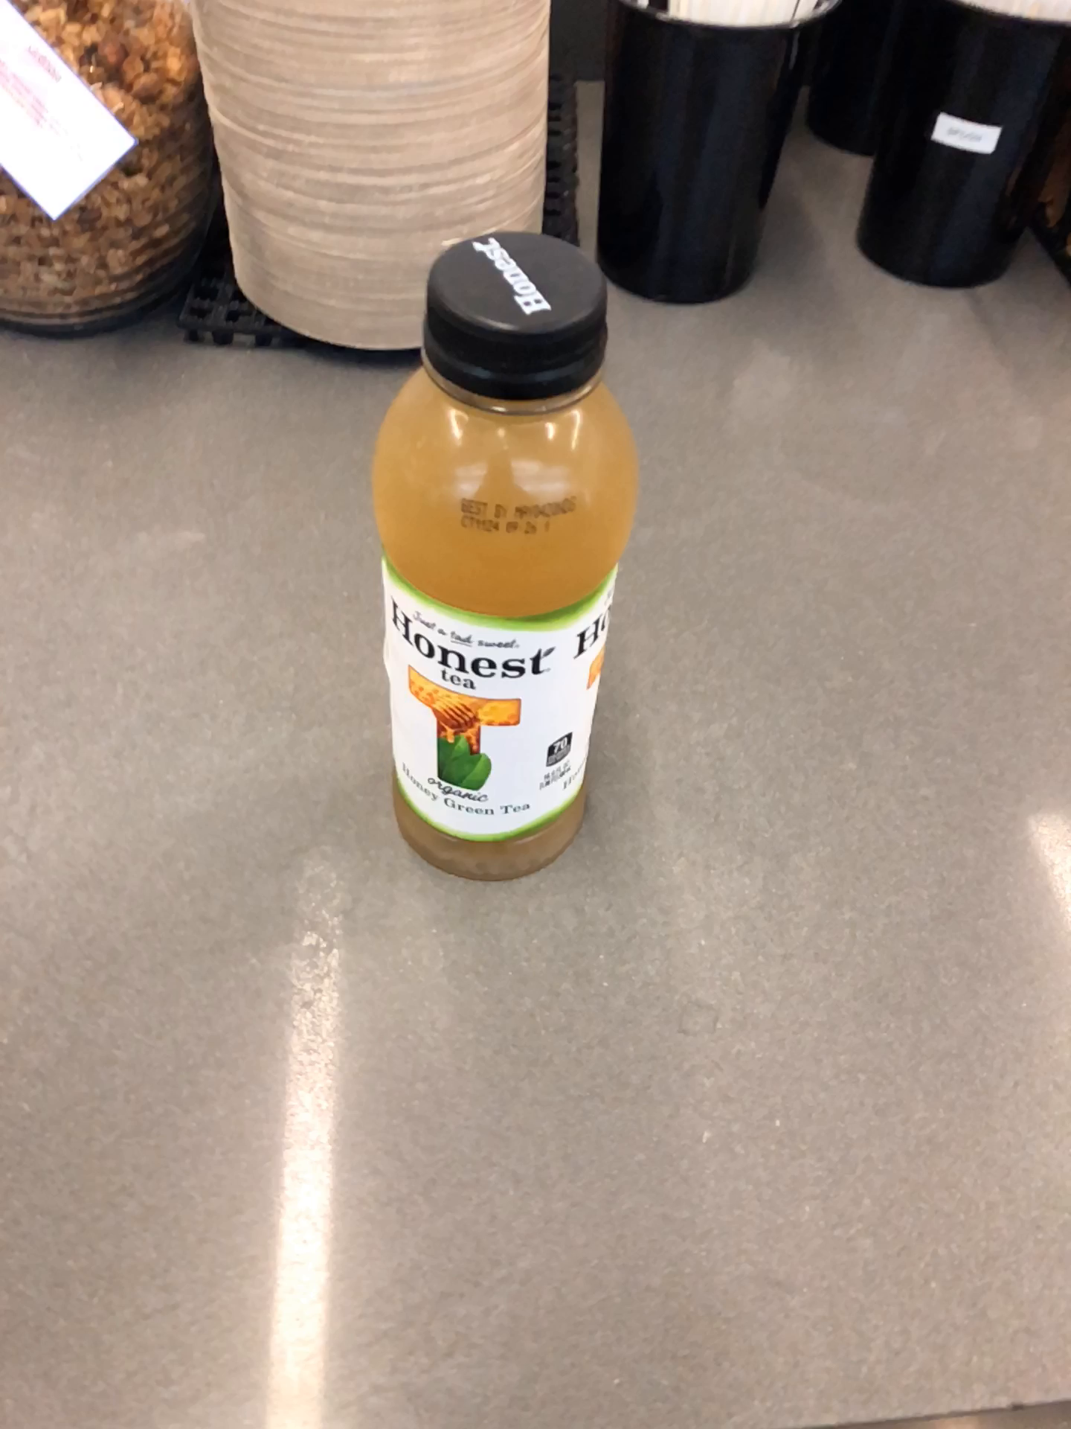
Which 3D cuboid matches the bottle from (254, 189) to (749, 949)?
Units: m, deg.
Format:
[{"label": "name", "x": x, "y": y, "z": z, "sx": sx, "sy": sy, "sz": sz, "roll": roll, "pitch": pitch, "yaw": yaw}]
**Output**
[{"label": "bottle", "x": -0.008, "y": -0.029, "z": 0.341, "sx": 0.090, "sy": 0.189, "sz": 0.090, "roll": 2, "pitch": 50, "yaw": -2}]
